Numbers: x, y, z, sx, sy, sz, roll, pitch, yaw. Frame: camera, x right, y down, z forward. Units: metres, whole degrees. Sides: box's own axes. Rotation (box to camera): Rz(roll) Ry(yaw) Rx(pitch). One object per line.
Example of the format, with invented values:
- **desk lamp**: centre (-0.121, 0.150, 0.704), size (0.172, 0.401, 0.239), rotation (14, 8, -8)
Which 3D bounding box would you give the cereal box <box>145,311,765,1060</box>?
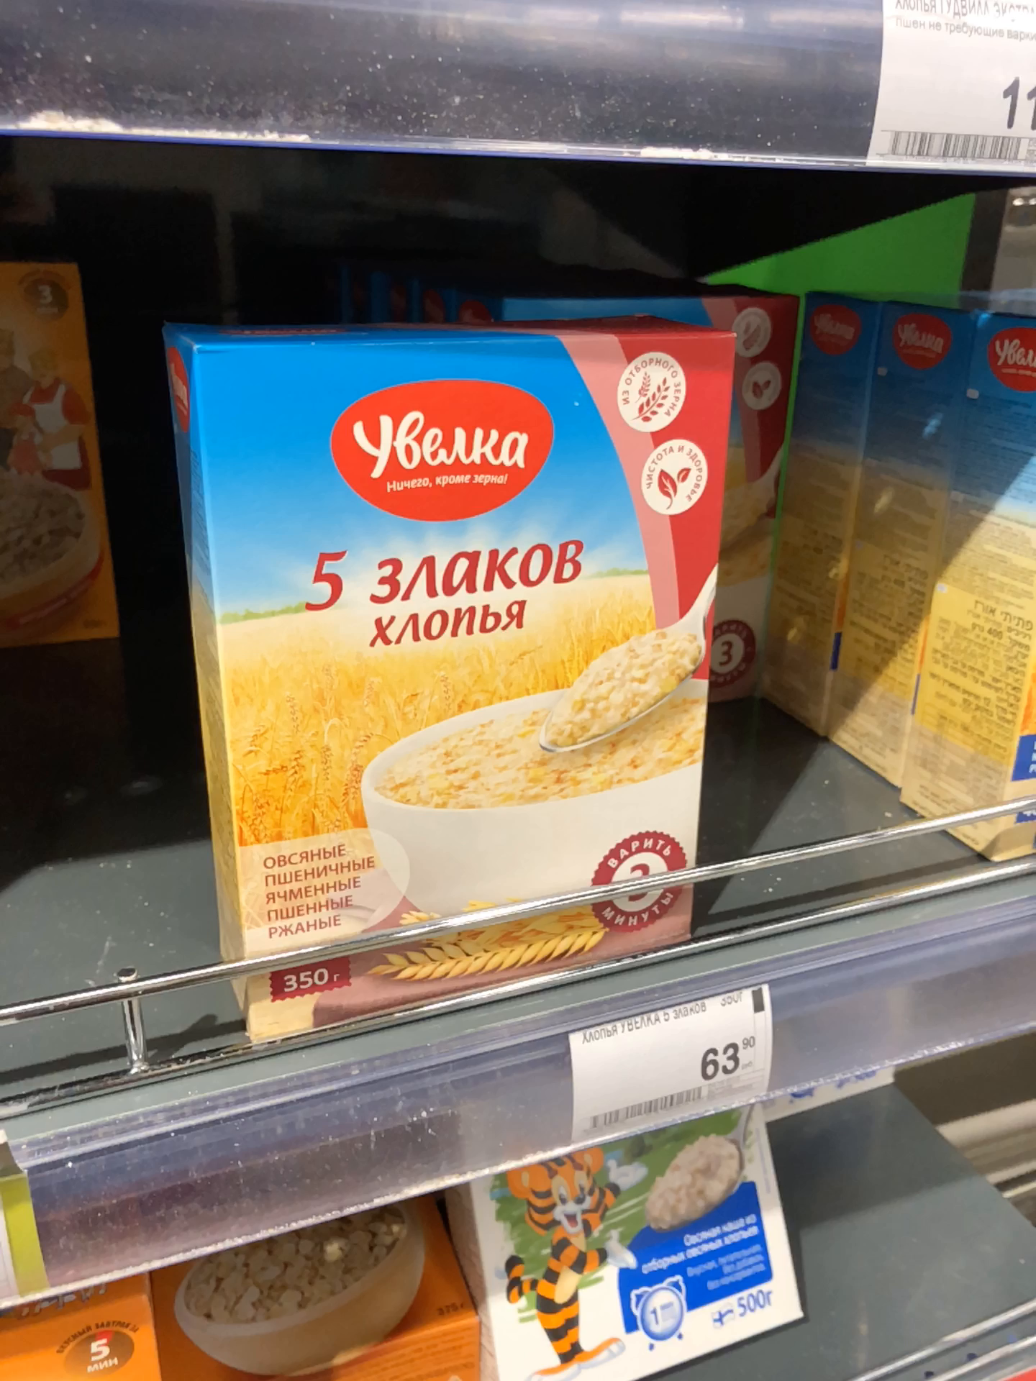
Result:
- **cereal box**: centre (-0.016, -0.007, 0.327), size (0.150, 0.189, 0.050), rotation (-8, 22, -22)
